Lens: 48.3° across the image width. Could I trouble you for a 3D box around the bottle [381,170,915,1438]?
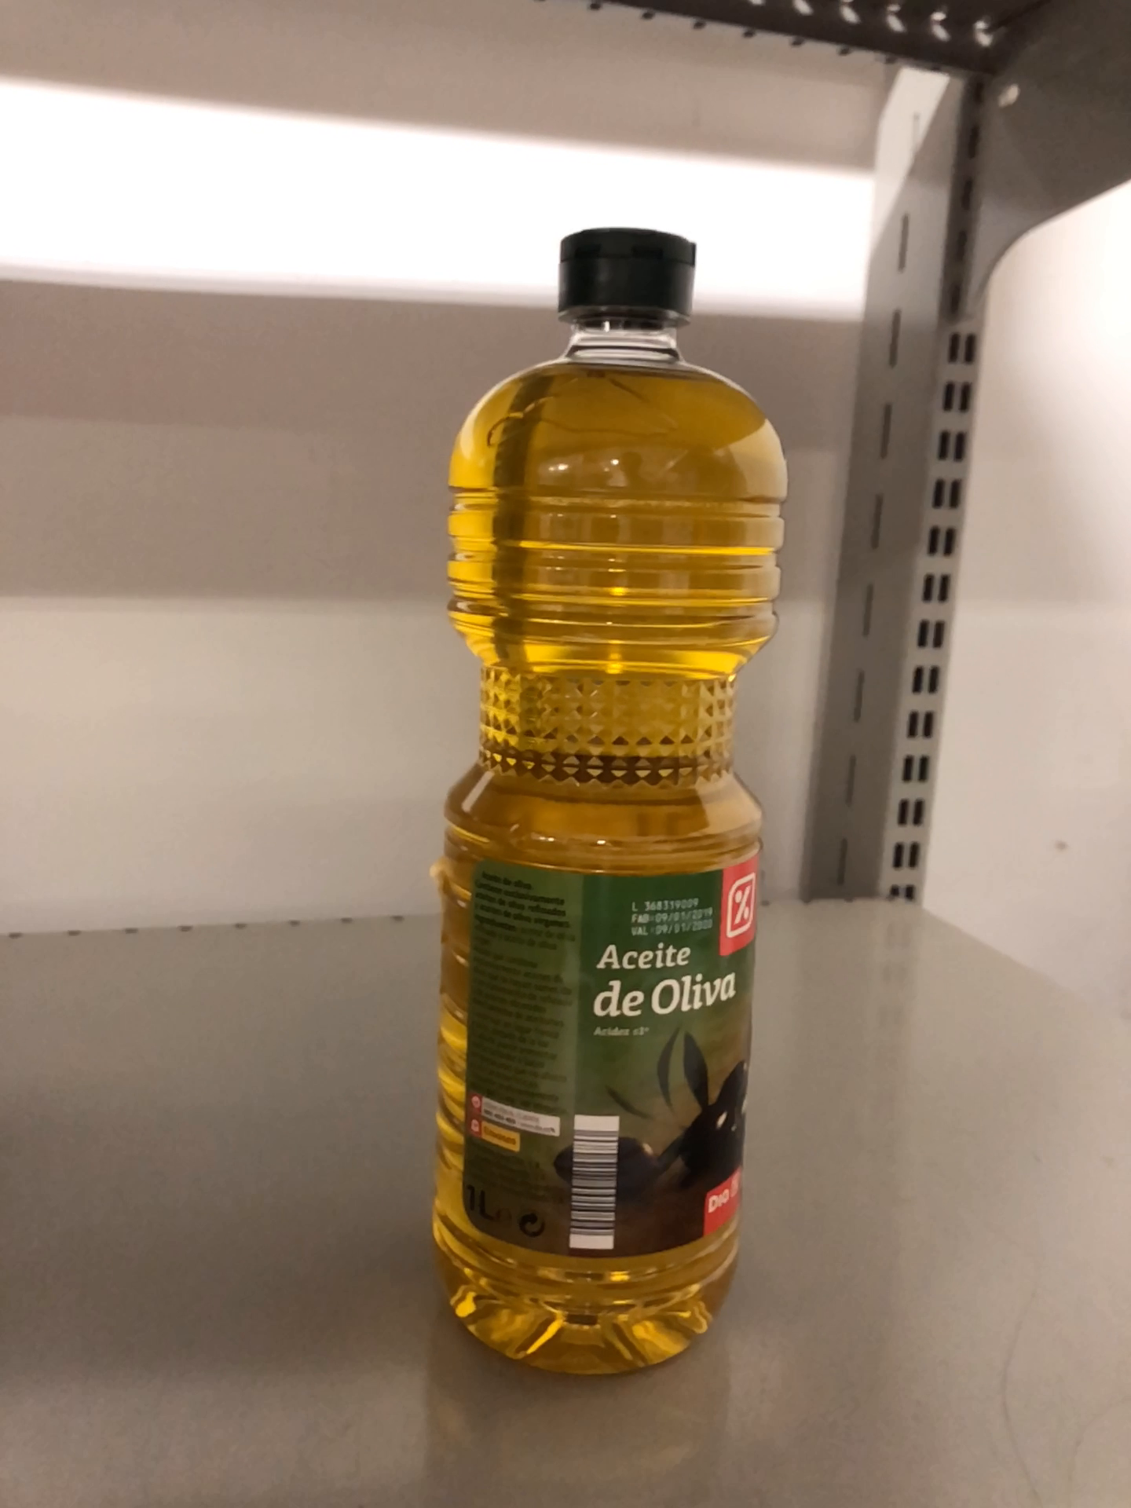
[{"bbox_3d":[0.013,0.013,0.287,0.080,0.249,0.060,-3,13,-31],"label":"bottle"}]
